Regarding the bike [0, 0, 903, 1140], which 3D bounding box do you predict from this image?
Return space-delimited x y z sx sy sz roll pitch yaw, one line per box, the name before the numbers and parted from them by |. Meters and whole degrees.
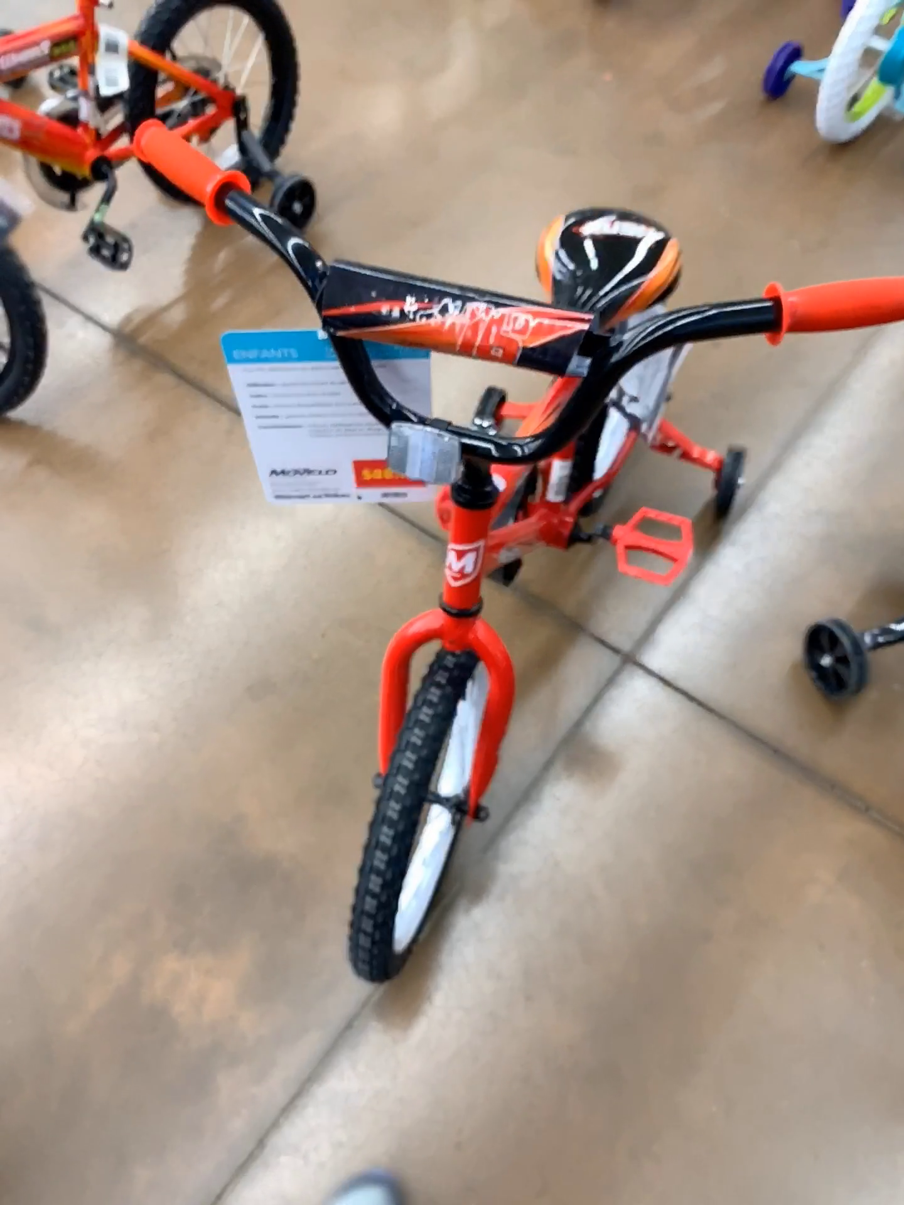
bike | 0.135 -0.156 1.050 0.515 0.955 1.144 17 56 12
